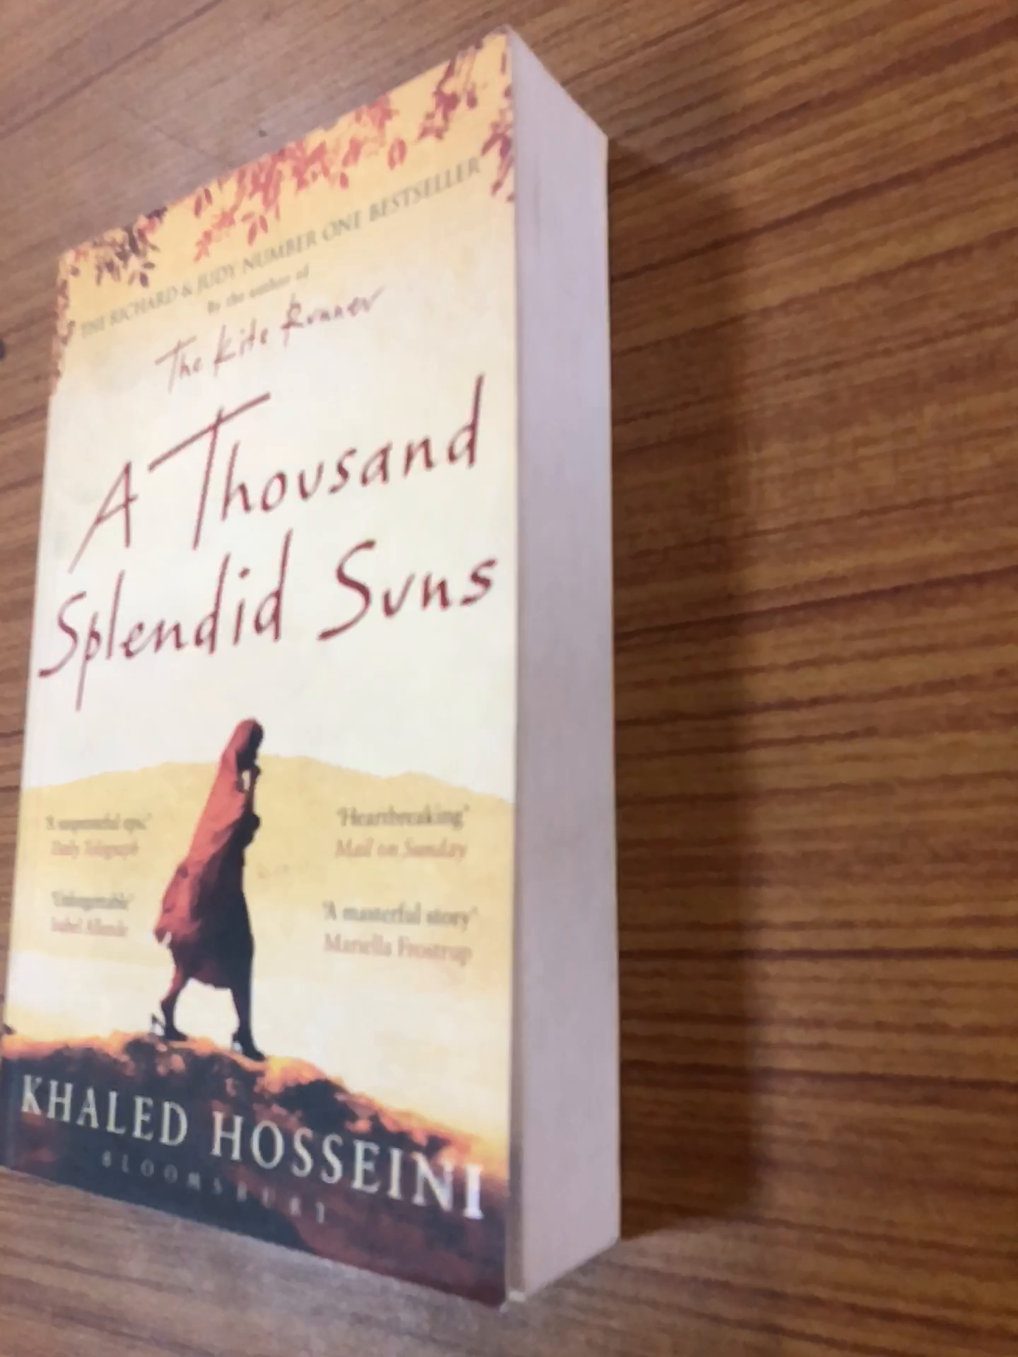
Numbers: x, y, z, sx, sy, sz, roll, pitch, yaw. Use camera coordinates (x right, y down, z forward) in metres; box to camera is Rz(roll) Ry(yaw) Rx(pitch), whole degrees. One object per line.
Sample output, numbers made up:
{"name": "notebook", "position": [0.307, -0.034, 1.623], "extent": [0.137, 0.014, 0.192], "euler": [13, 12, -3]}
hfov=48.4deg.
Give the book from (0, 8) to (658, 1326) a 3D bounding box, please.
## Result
{"name": "book", "position": [-0.045, -0.002, 0.211], "extent": [0.141, 0.030, 0.190], "euler": [-6, 80, 33]}
